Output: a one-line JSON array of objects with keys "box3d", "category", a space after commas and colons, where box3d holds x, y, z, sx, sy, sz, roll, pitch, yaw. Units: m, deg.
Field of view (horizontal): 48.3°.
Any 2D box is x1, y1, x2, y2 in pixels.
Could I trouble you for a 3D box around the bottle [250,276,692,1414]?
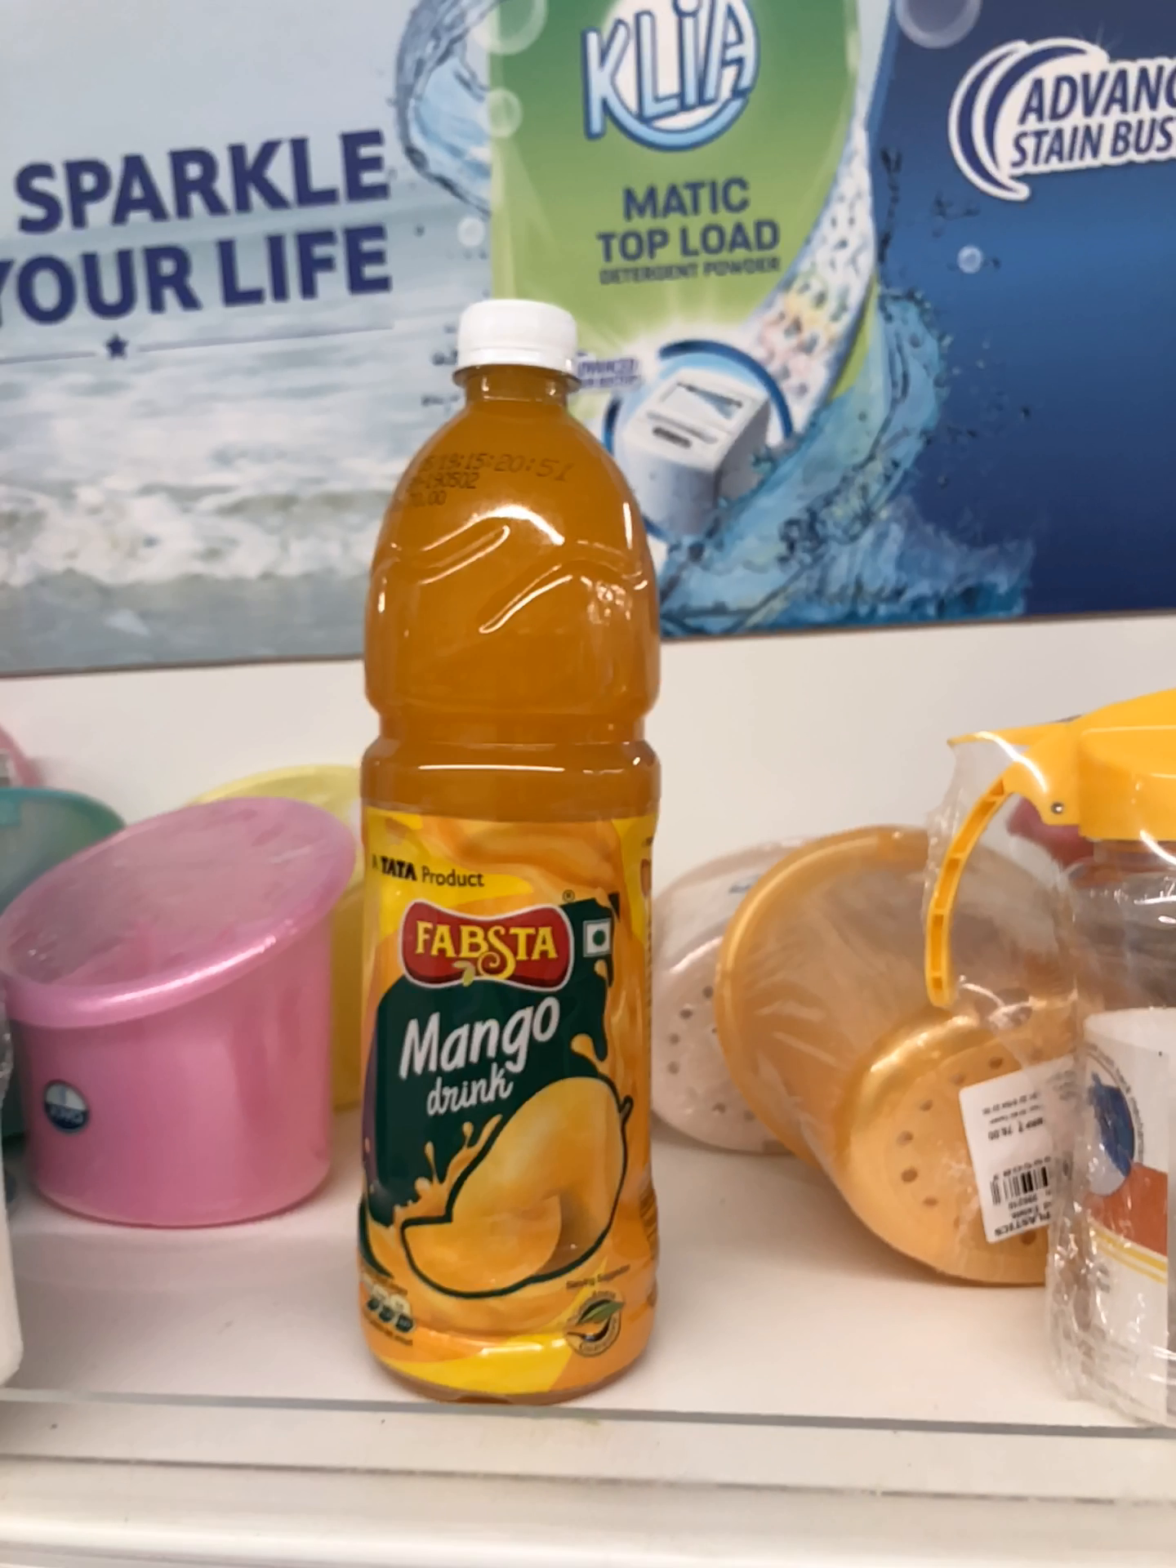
[{"box3d": [-0.023, 0.016, 0.340, 0.090, 0.260, 0.080, -2, 4, 3], "category": "bottle"}]
